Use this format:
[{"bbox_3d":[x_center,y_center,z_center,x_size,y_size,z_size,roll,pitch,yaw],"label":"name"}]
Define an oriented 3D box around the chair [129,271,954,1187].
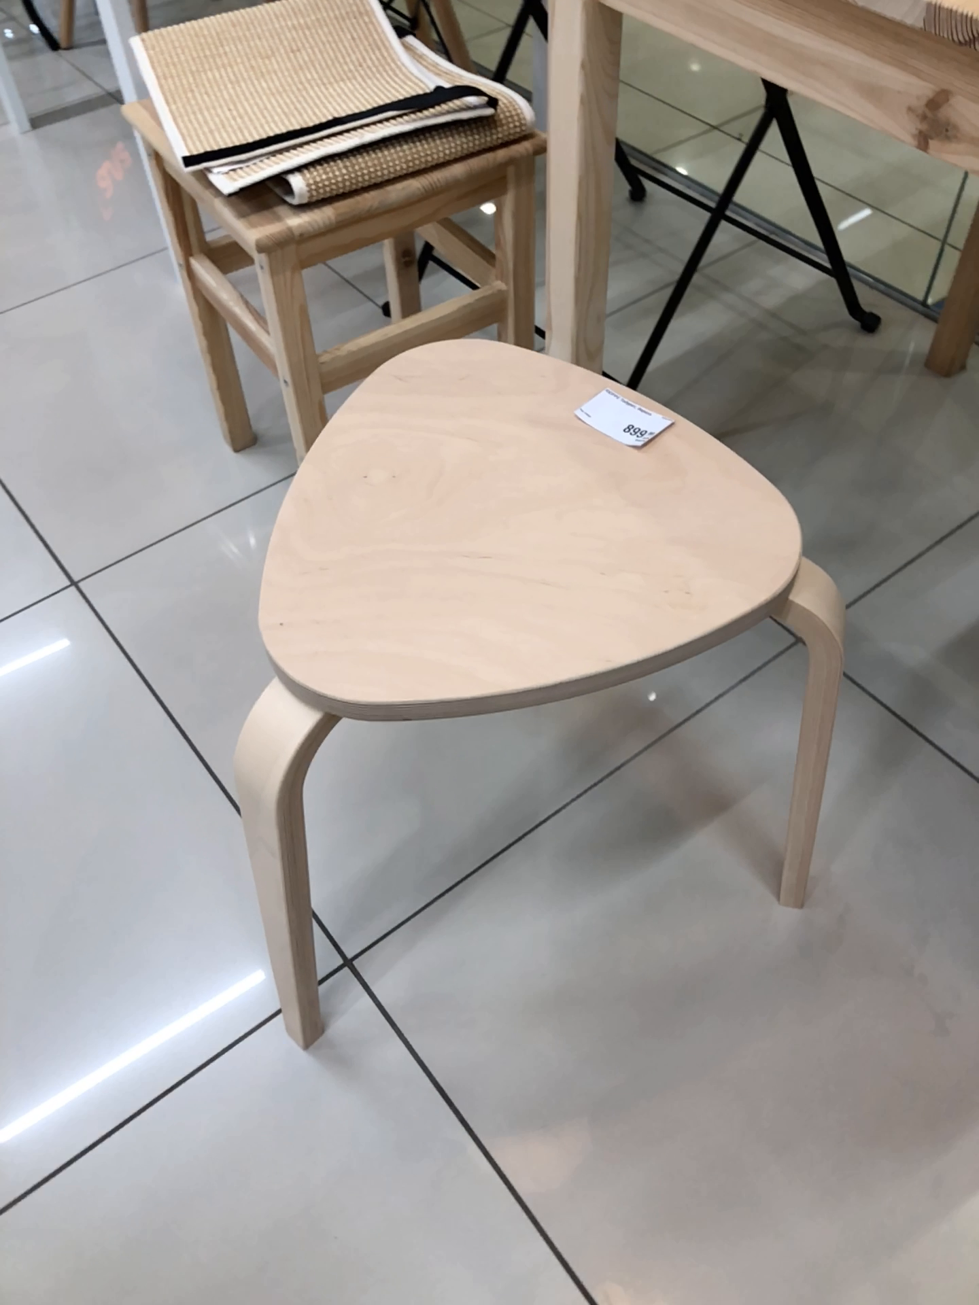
[{"bbox_3d":[0.083,0.058,0.875,0.430,0.467,0.493,11,52,11],"label":"chair"}]
